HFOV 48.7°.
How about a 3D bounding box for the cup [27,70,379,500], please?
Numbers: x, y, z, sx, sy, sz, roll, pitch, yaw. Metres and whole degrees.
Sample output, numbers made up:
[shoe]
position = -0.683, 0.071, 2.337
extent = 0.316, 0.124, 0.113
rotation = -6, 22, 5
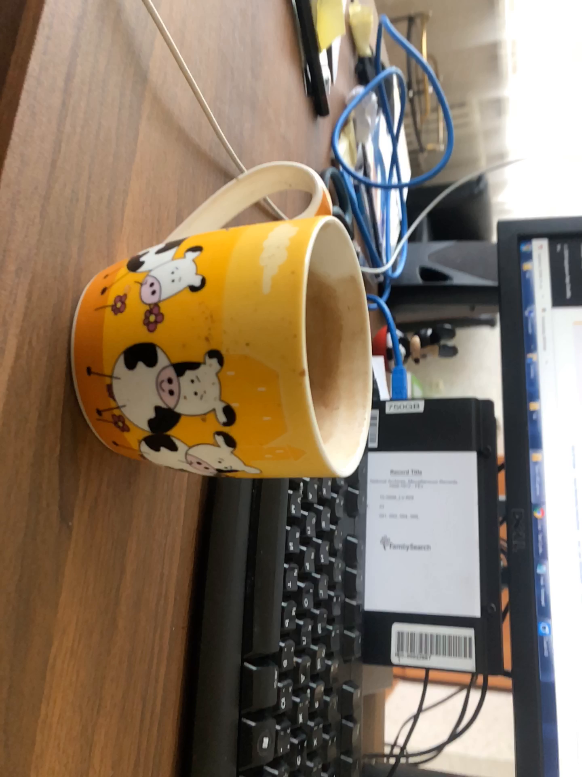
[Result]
[cup]
position = -0.023, -0.030, 0.260
extent = 0.092, 0.095, 0.135
rotation = 42, 49, -63
